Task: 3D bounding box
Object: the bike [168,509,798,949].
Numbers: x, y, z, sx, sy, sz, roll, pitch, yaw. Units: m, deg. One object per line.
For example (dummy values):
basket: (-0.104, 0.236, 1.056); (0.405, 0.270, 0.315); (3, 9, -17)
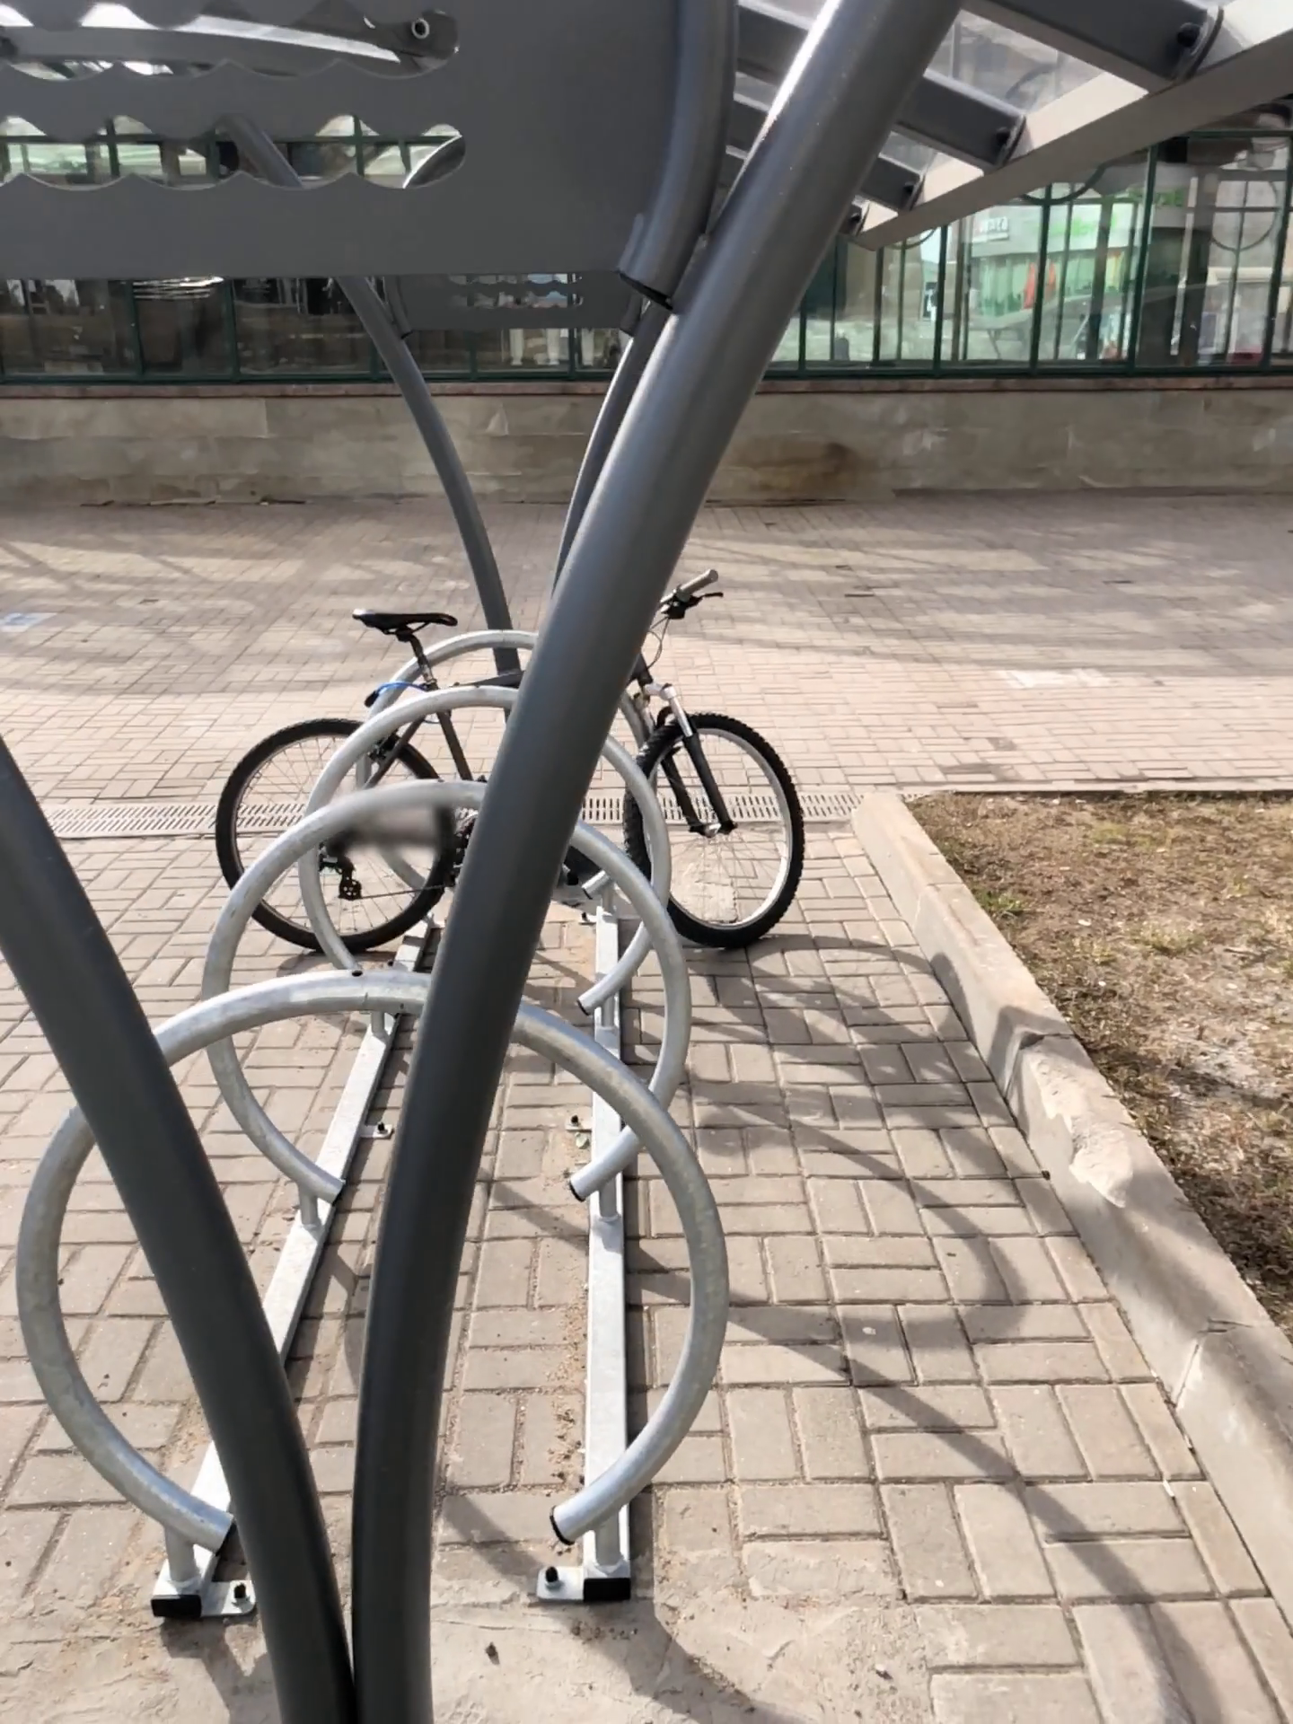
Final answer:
bike: (-0.373, -0.420, 4.034); (1.611, 0.980, 0.564); (-6, 20, -9)
